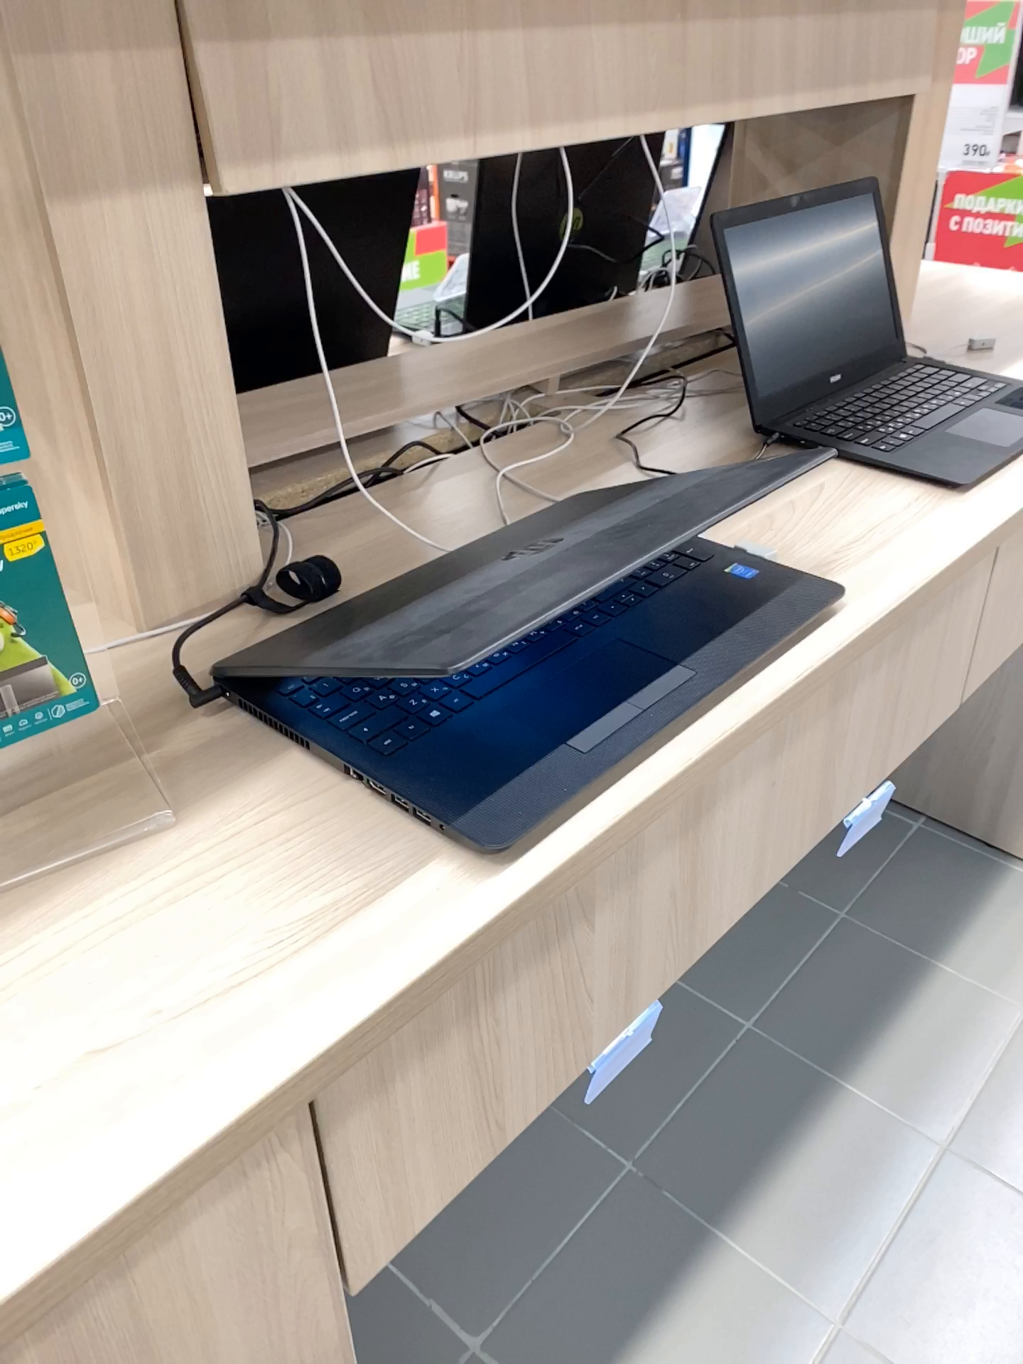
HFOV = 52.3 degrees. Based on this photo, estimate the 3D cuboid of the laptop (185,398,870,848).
[{"bbox_3d":[0.026,-0.074,0.686,0.252,0.093,0.373,25,40,35],"label":"laptop"}]
